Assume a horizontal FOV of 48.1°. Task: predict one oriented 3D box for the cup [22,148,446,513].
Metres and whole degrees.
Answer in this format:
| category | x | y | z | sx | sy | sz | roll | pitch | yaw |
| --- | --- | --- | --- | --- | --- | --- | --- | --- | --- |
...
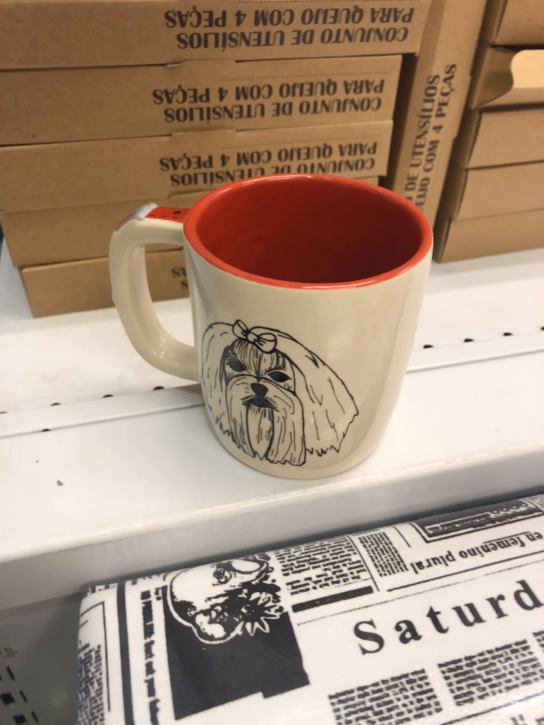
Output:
| category | x | y | z | sx | sy | sz | roll | pitch | yaw |
| --- | --- | --- | --- | --- | --- | --- | --- | --- | --- |
| cup | -0.006 | -0.016 | 0.231 | 0.120 | 0.089 | 0.091 | 7 | 39 | 7 |
